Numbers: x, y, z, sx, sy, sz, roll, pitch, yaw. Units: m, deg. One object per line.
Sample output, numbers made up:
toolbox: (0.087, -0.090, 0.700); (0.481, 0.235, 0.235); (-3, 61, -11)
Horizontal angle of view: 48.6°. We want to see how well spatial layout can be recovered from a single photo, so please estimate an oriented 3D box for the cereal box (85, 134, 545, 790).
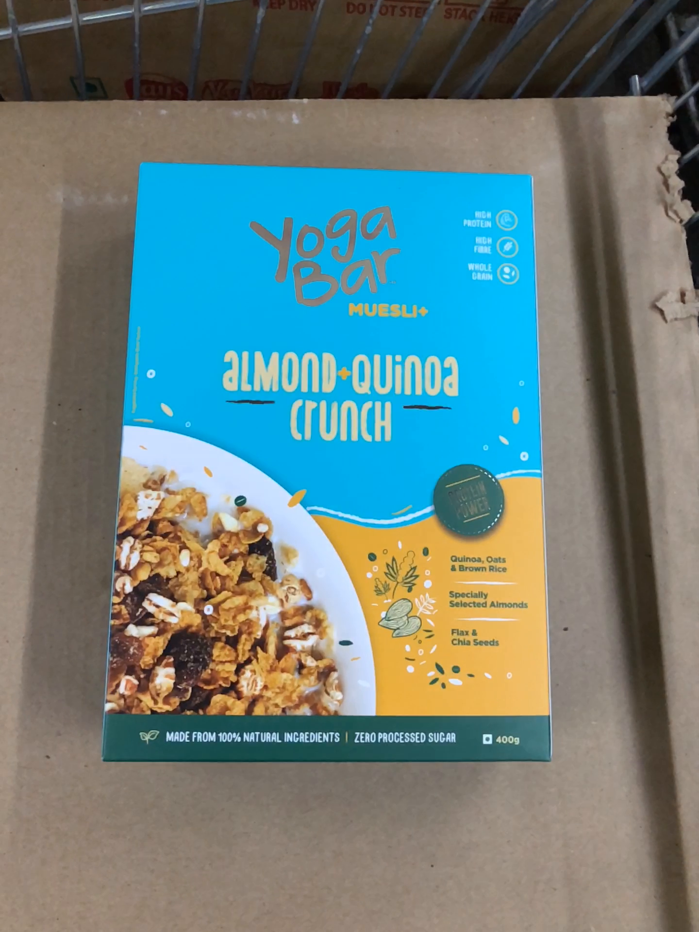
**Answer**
cereal box: (-0.013, -0.003, 0.322); (0.160, 0.070, 0.240); (1, 81, -6)
